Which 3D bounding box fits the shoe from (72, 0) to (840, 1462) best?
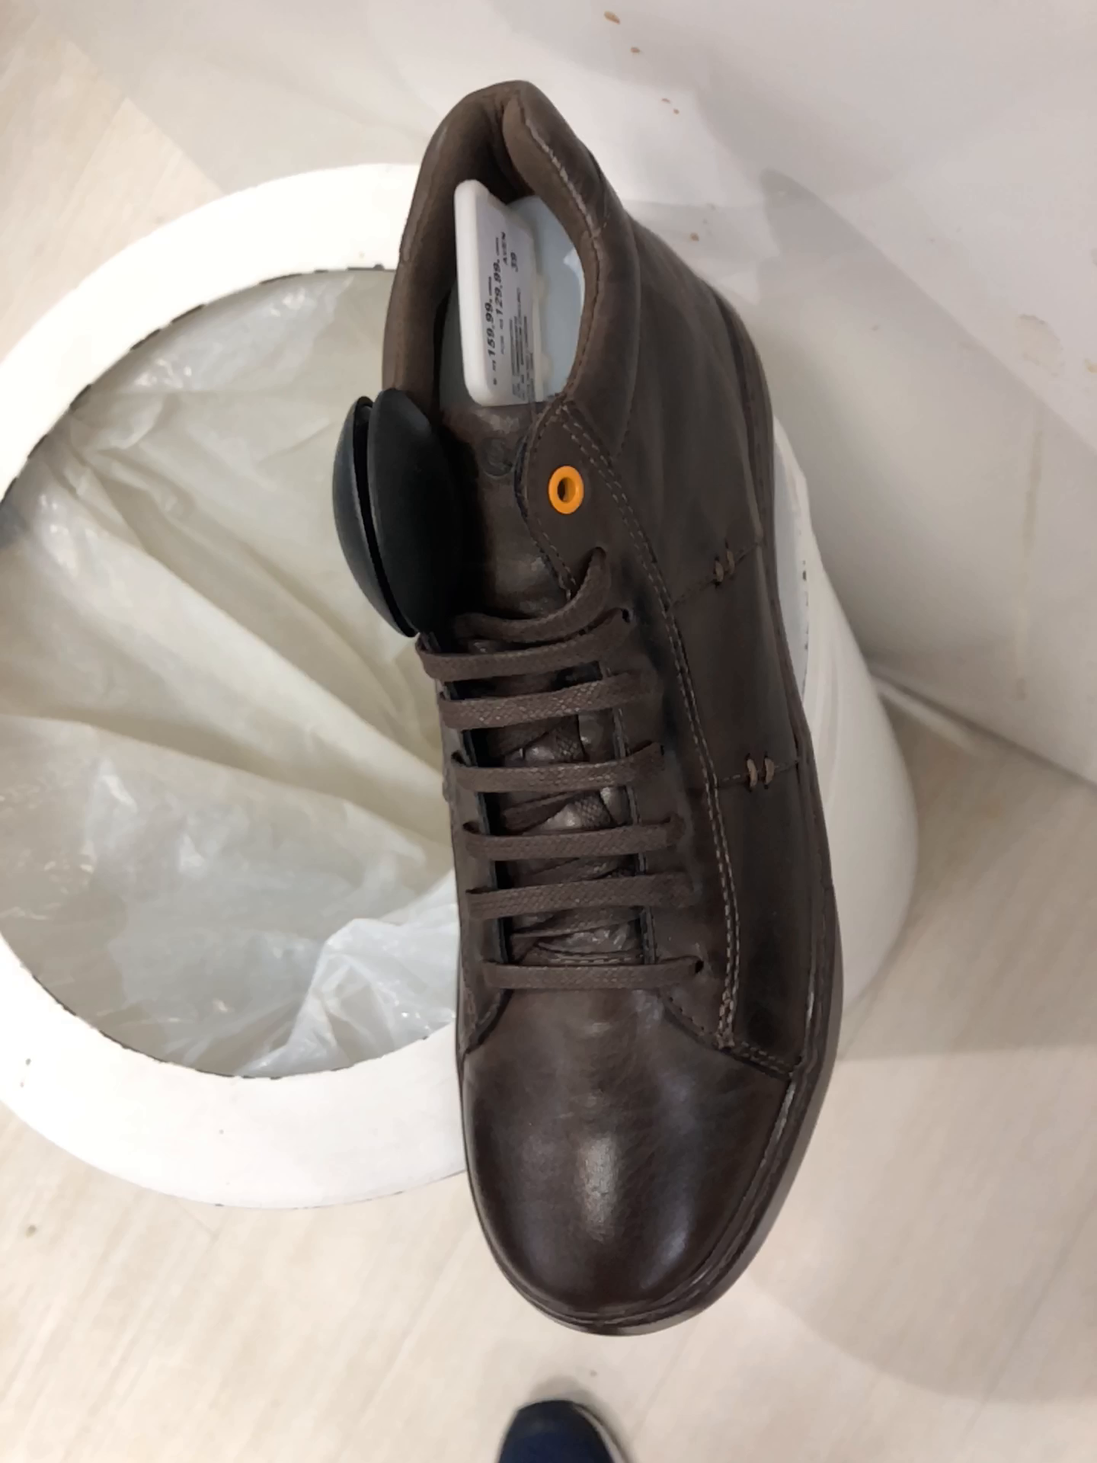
[{"bbox_3d":[-0.001,0.007,0.292,0.120,0.140,0.270,-1,79,19],"label":"shoe"}]
